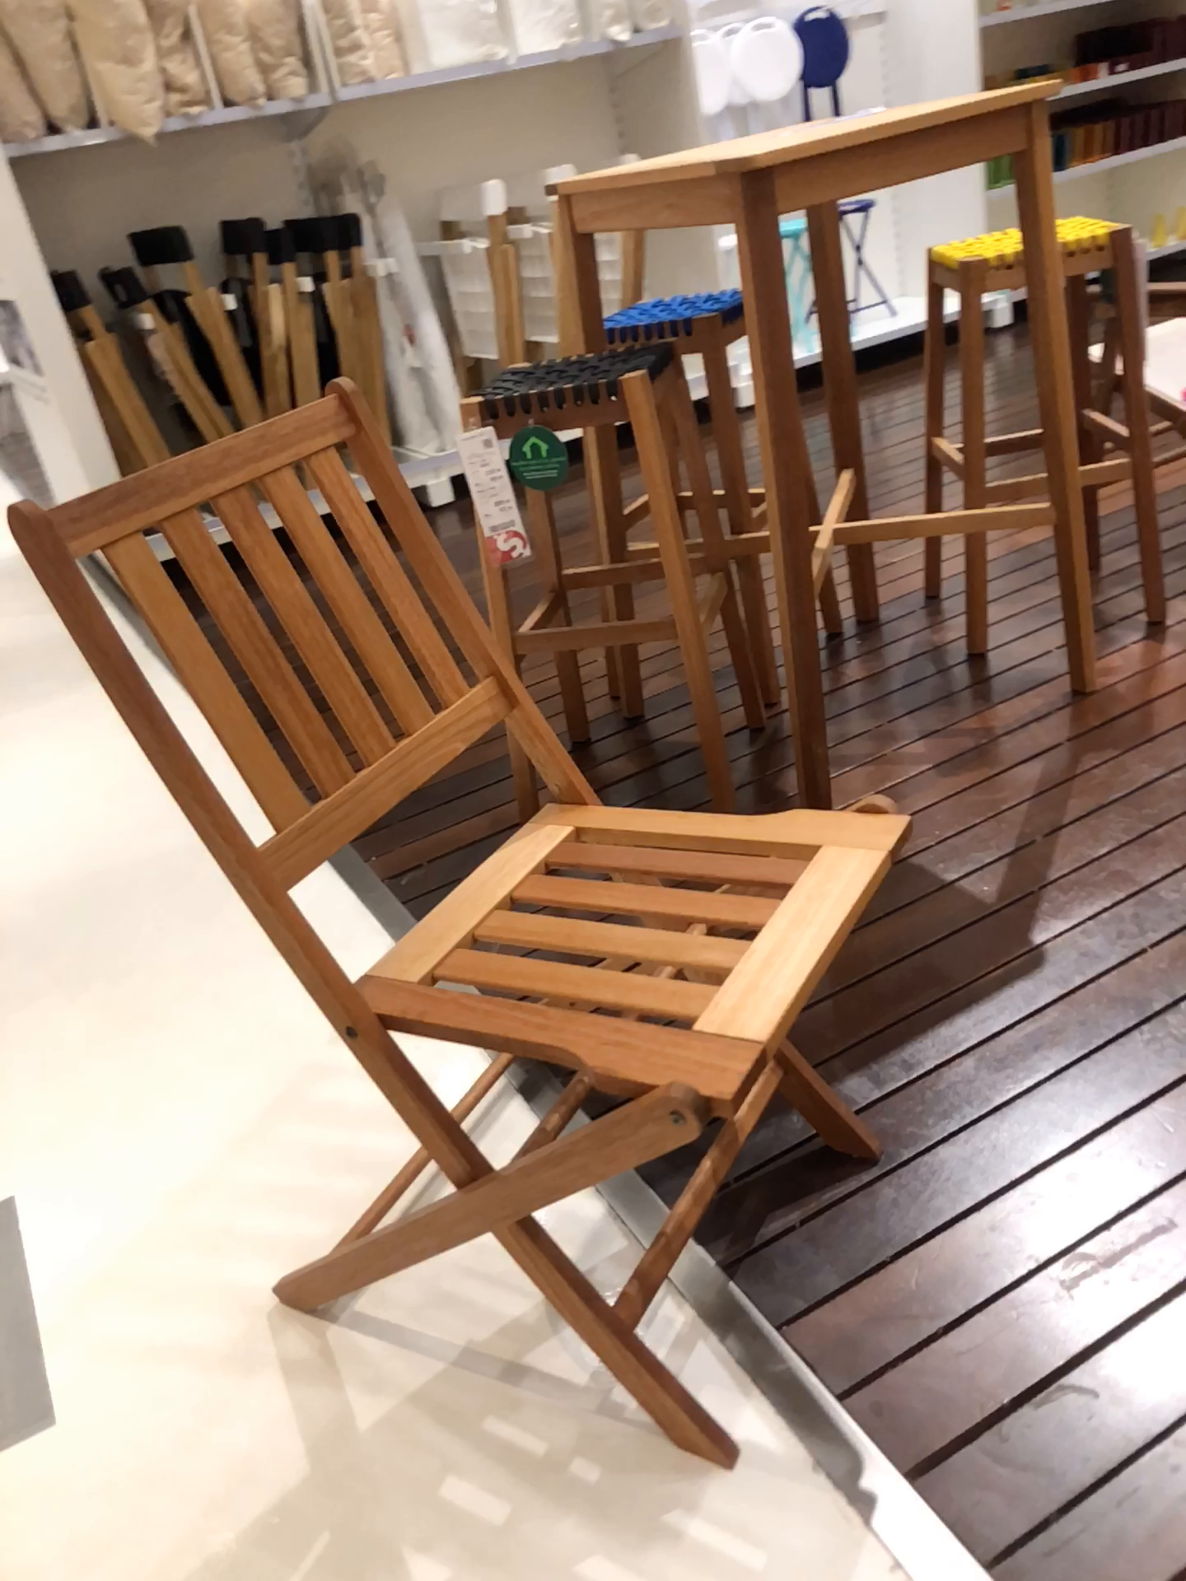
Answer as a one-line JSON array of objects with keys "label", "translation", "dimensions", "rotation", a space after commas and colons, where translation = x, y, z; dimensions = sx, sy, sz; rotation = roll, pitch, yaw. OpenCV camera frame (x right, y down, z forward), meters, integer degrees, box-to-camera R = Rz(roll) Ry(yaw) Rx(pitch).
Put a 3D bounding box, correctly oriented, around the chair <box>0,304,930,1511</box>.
[{"label": "chair", "translation": [-0.081, 0.075, 1.229], "dimensions": [0.601, 0.864, 0.503], "rotation": [5, 31, 30]}]
